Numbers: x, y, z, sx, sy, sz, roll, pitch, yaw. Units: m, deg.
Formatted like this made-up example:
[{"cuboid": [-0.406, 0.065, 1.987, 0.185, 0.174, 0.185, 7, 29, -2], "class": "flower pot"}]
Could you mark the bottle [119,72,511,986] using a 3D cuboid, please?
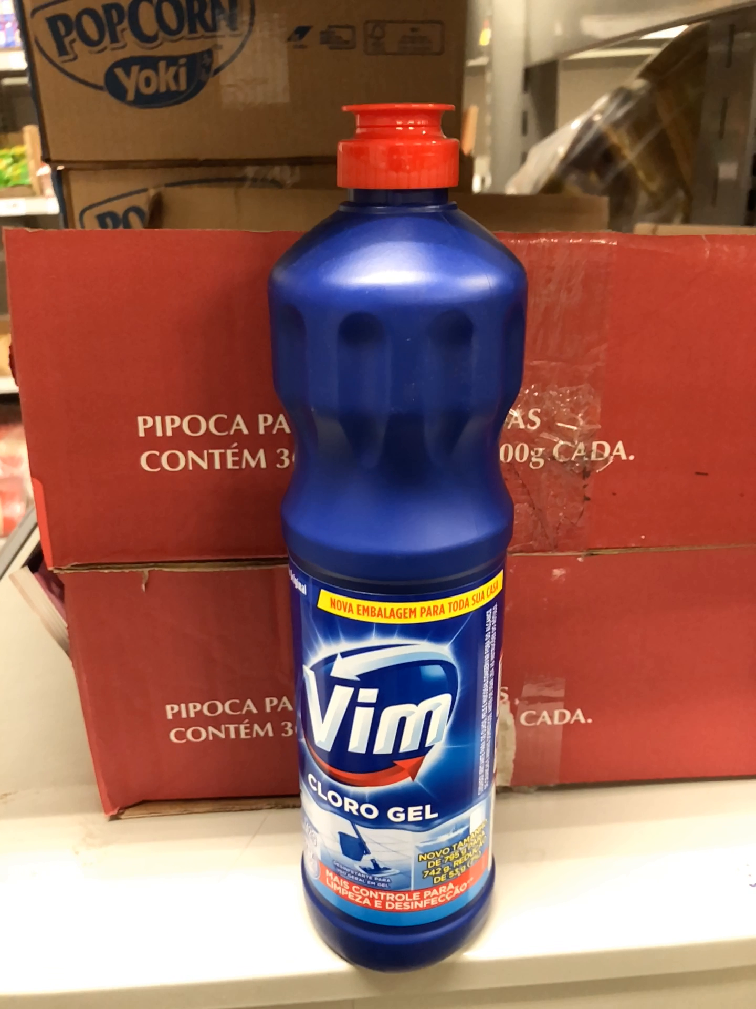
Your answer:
[{"cuboid": [-0.004, 0.016, 0.226, 0.070, 0.229, 0.060, 3, 24, 13], "class": "bottle"}]
